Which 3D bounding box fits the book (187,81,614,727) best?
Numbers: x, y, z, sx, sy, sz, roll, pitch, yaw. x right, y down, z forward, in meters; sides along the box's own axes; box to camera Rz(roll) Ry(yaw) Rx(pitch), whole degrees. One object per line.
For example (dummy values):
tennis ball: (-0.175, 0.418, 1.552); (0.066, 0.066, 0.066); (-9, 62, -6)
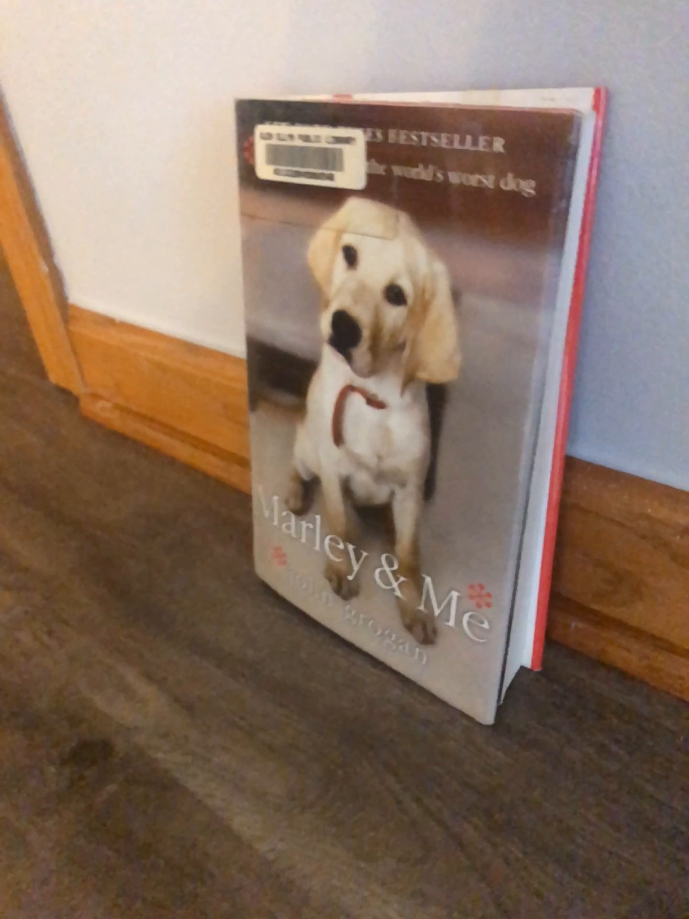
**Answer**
book: (0.011, -0.026, 0.303); (0.151, 0.218, 0.040); (21, 32, 38)
